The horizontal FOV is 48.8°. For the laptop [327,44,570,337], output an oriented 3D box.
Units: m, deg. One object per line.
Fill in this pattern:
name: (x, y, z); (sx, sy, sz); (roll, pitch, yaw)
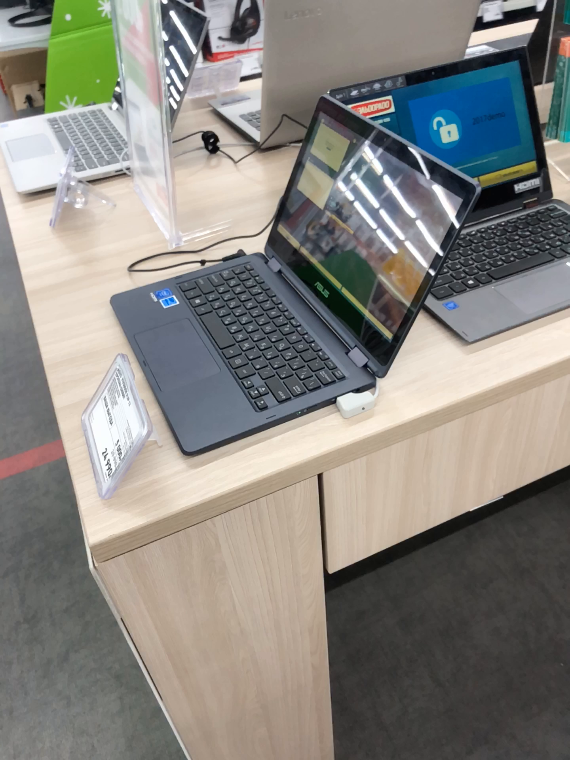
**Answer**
laptop: (0.237, -0.235, 0.716); (0.261, 0.162, 0.300); (-20, 44, -15)

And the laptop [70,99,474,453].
laptop: (-0.023, -0.125, 0.624); (0.280, 0.166, 0.271); (-20, 45, -16)
